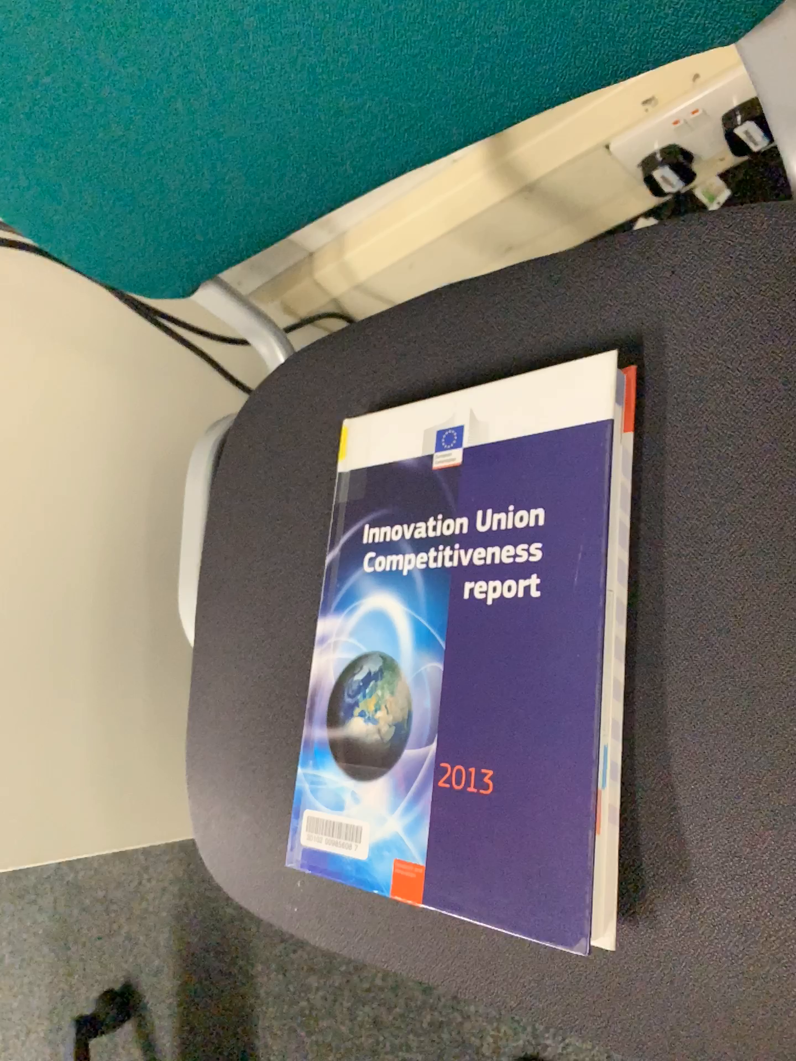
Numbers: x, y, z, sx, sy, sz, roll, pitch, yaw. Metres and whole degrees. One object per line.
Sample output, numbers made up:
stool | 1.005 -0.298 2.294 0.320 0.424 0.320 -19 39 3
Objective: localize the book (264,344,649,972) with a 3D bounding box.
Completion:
book | 0.021 0.050 0.405 0.195 0.026 0.250 -6 71 45
